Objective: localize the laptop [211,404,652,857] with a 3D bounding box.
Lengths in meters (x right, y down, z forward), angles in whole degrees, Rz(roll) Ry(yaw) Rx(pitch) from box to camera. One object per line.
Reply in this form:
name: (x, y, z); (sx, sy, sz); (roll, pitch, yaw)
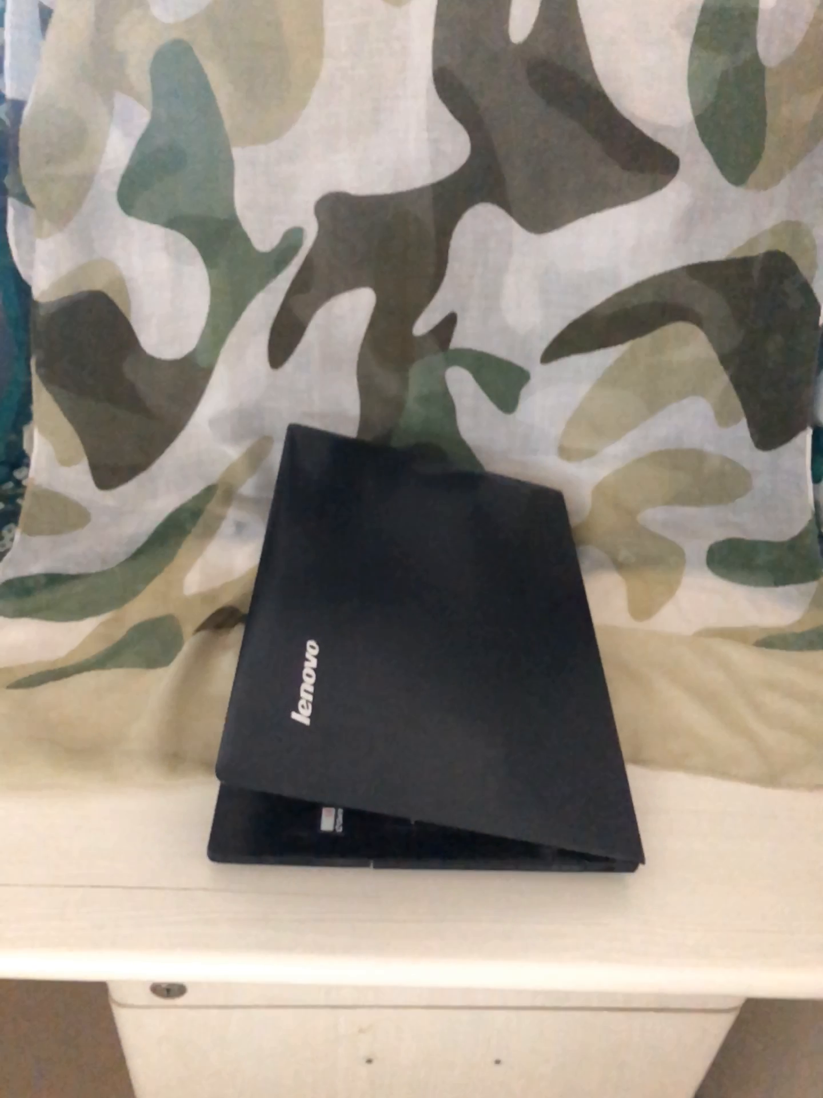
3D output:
laptop: (0.015, 0.029, 0.677); (0.249, 0.059, 0.387); (6, 38, -3)
